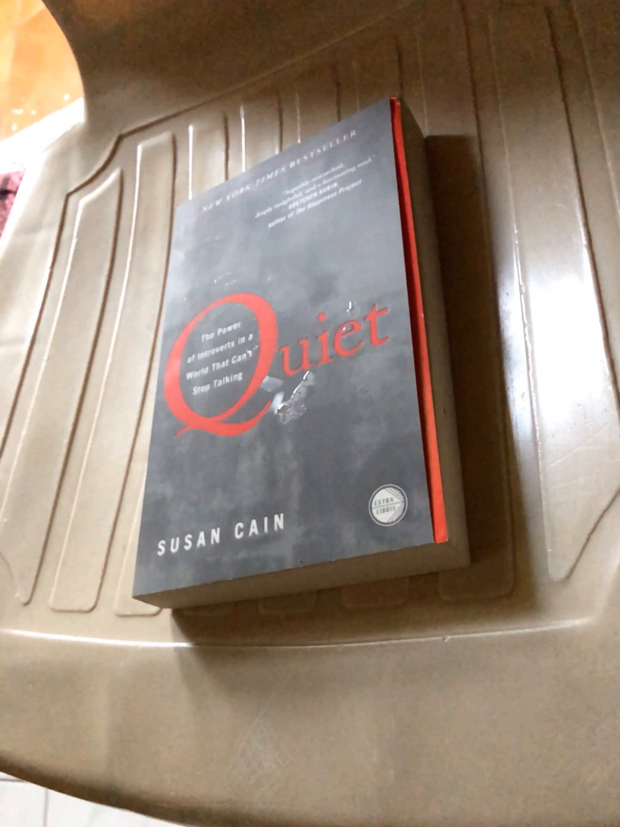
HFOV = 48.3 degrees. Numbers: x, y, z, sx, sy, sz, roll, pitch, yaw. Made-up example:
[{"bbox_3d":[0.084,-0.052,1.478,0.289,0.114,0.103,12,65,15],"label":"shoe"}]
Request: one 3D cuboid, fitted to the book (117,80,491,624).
[{"bbox_3d":[-0.008,-0.027,0.281,0.130,0.030,0.200,-16,59,27],"label":"book"}]
